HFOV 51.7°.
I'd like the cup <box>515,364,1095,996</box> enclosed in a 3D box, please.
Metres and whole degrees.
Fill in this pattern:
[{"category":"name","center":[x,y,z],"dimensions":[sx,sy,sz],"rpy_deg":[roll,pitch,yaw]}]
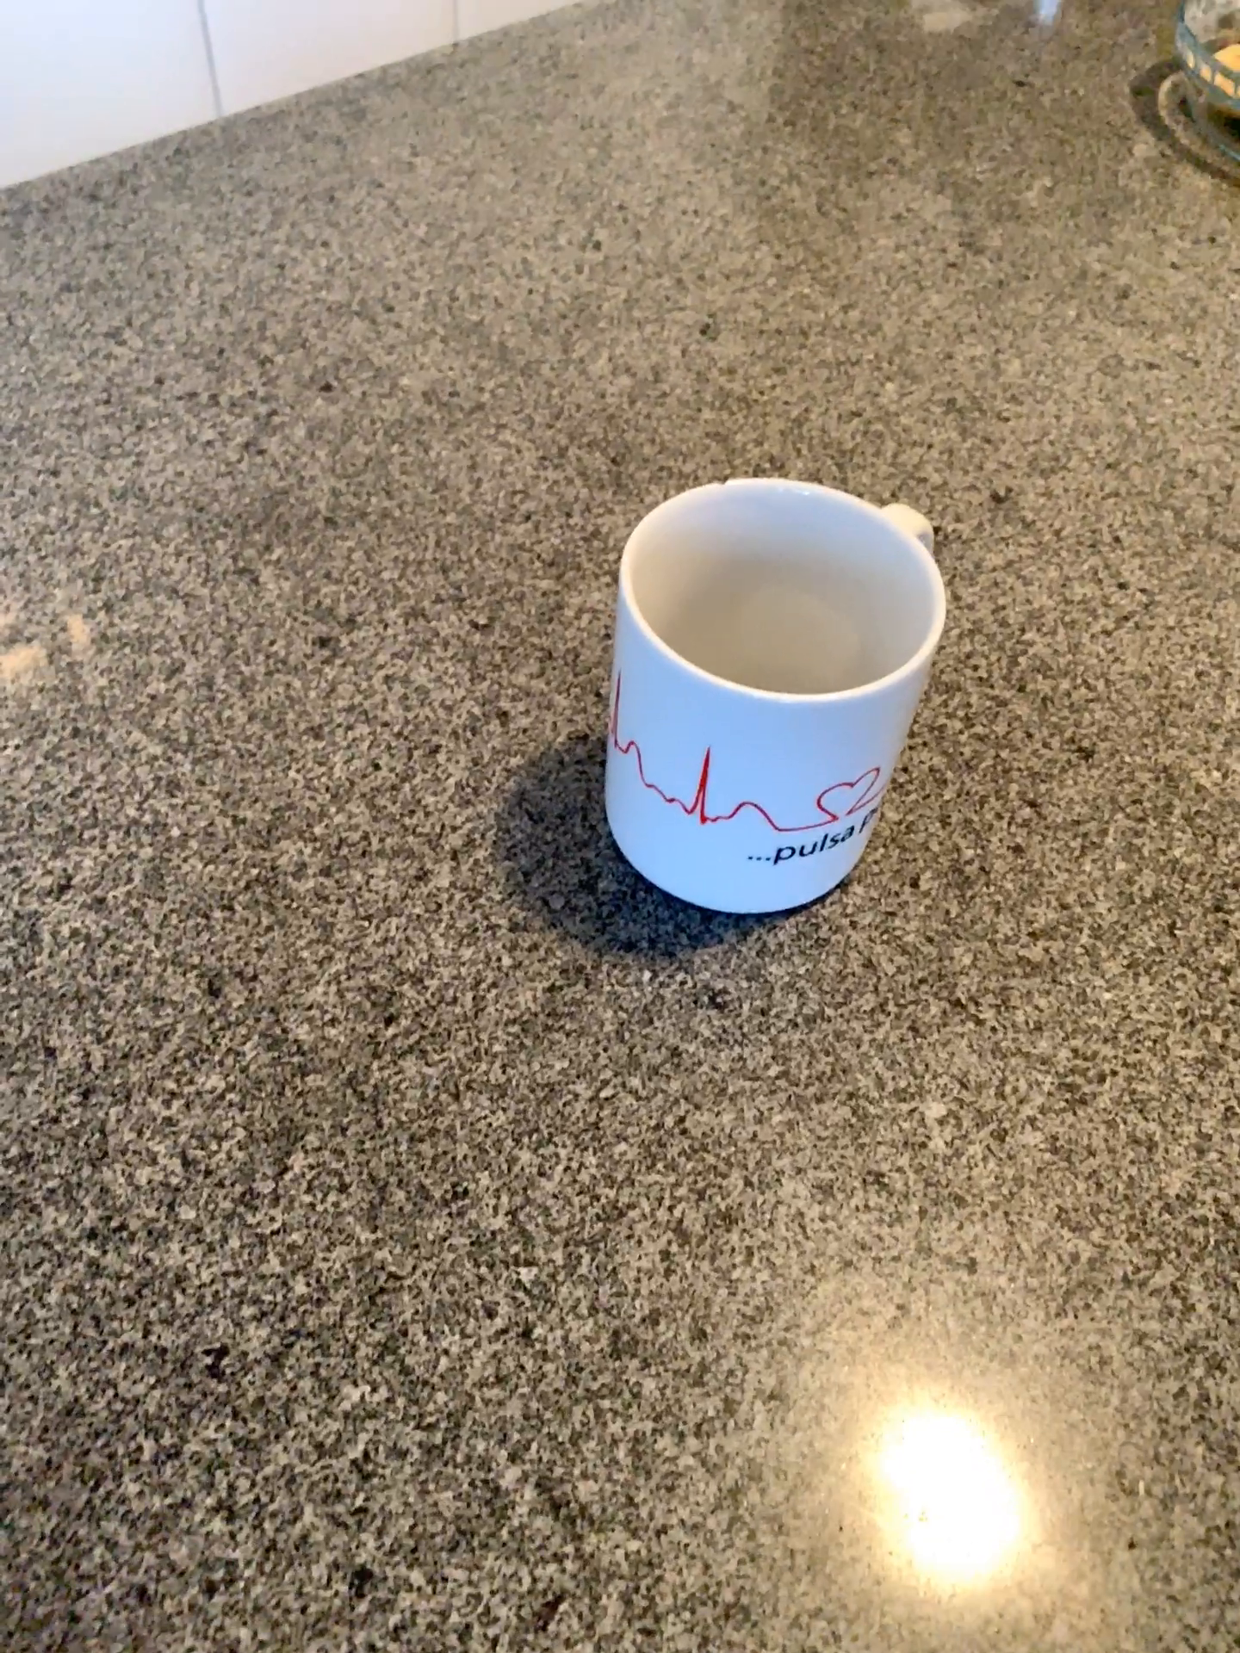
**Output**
[{"category":"cup","center":[0.046,-0.043,0.356],"dimensions":[0.090,0.100,0.120],"rpy_deg":[37,58,23]}]

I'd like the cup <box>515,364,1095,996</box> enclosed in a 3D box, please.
[{"category":"cup","center":[0.046,-0.043,0.356],"dimensions":[0.090,0.100,0.120],"rpy_deg":[37,58,23]}]
